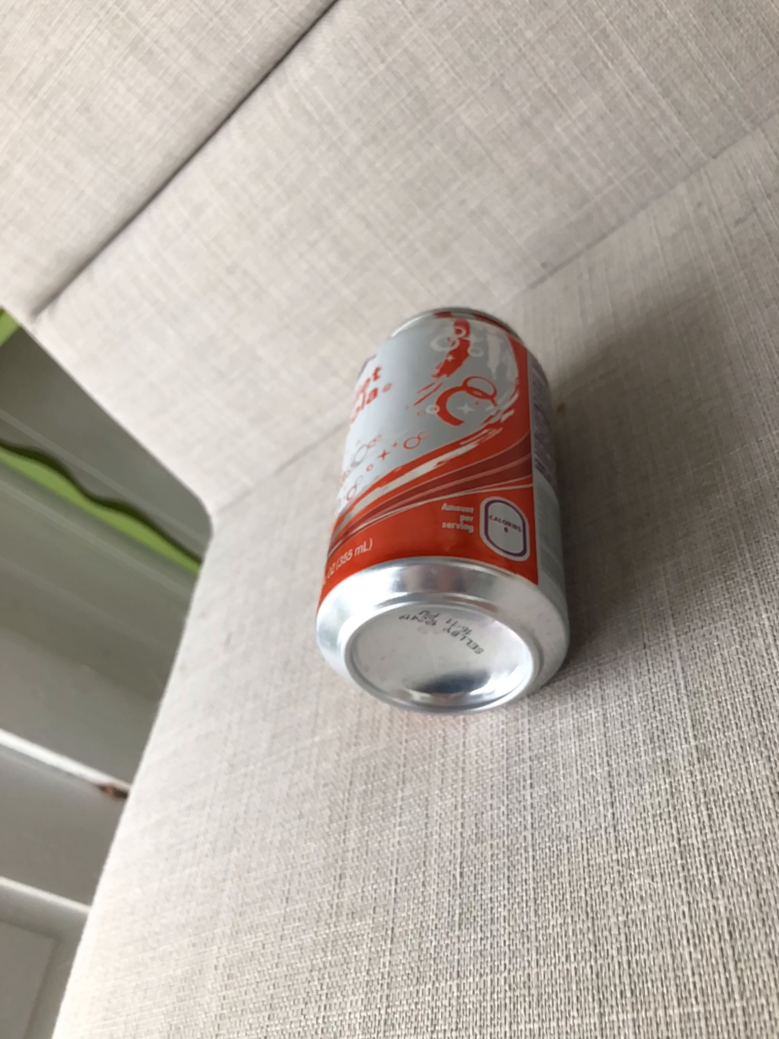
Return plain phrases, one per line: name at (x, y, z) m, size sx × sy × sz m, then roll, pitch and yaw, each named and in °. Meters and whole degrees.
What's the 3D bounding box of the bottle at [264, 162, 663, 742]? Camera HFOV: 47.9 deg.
bottle at (0.020, -0.025, 0.257) m, size 0.070 × 0.062 × 0.150 m, roll -31°, pitch 38°, yaw 31°
